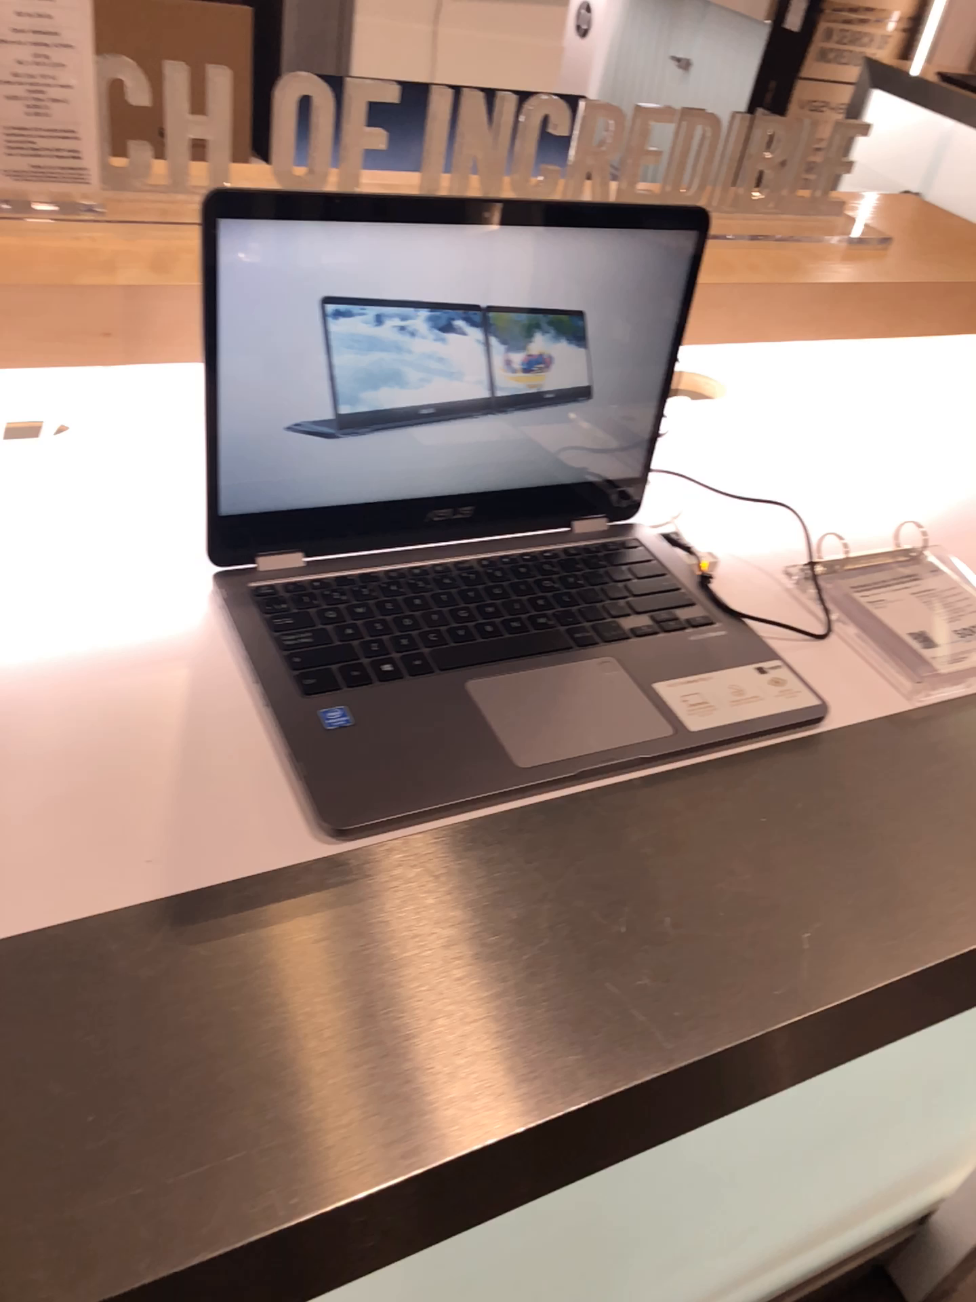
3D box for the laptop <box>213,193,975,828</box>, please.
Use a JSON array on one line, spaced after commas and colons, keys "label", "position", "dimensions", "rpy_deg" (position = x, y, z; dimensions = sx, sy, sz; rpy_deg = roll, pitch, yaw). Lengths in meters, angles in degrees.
[{"label": "laptop", "position": [0.036, -0.089, 0.560], "dimensions": [0.303, 0.211, 0.211], "rpy_deg": [-9, 42, -25]}]
